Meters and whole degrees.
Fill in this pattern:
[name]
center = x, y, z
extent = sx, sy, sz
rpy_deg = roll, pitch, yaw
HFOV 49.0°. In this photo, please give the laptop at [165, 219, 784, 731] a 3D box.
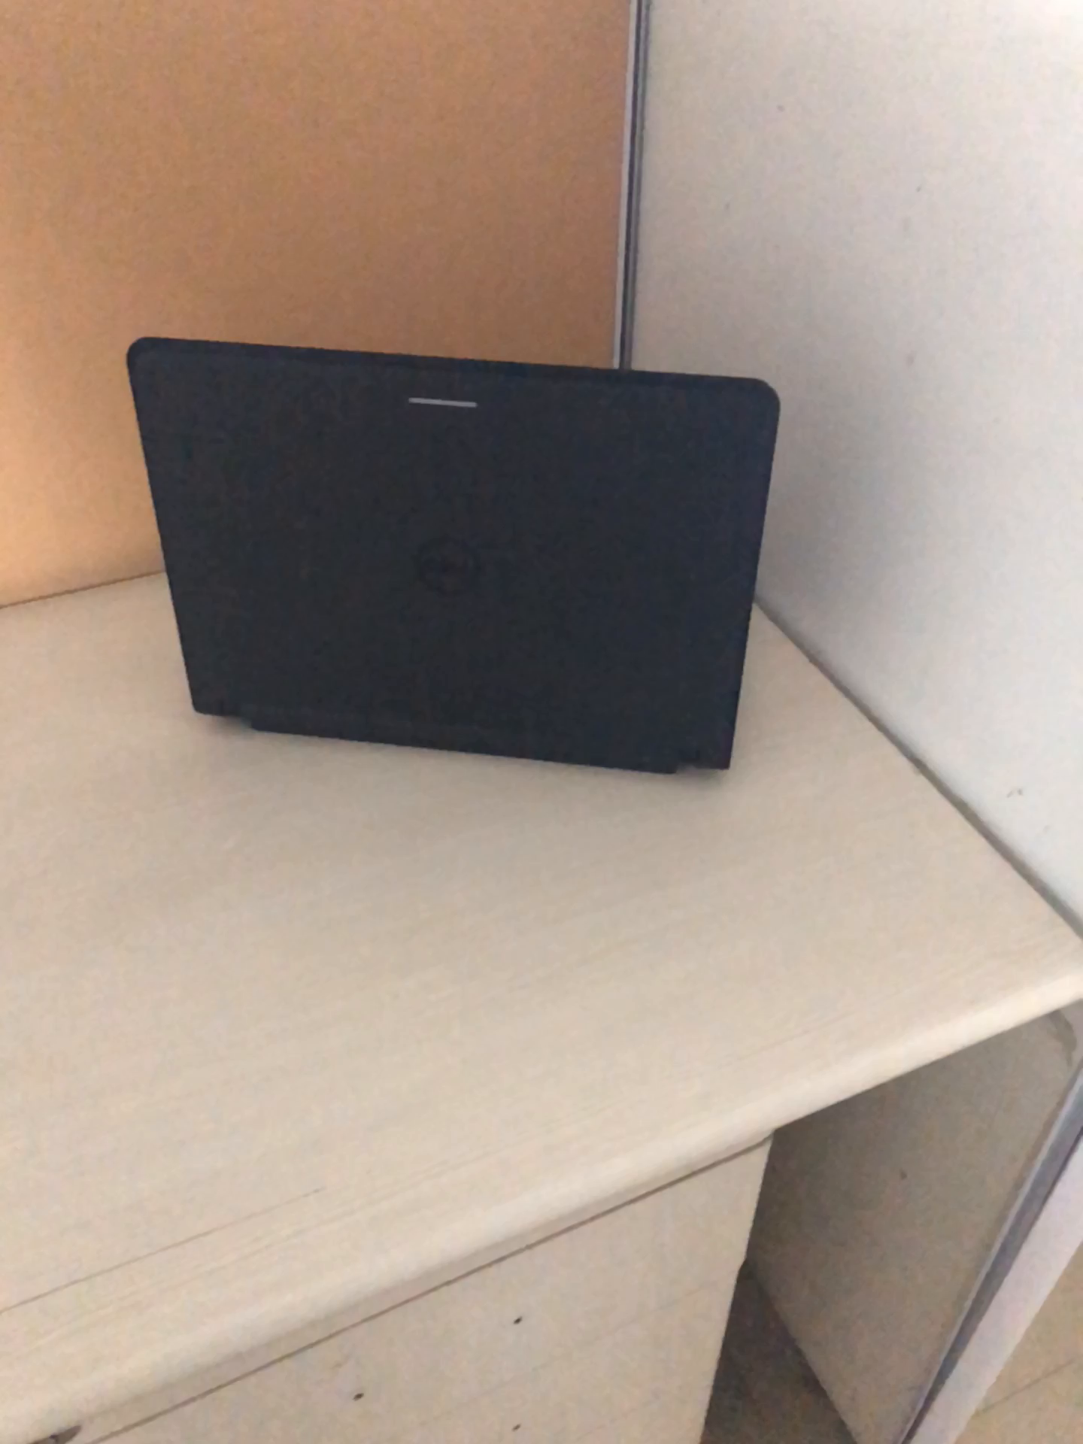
[laptop]
center = -0.021, -0.158, 0.728
extent = 0.304, 0.211, 0.215
rpy_deg = 6, 39, 7
